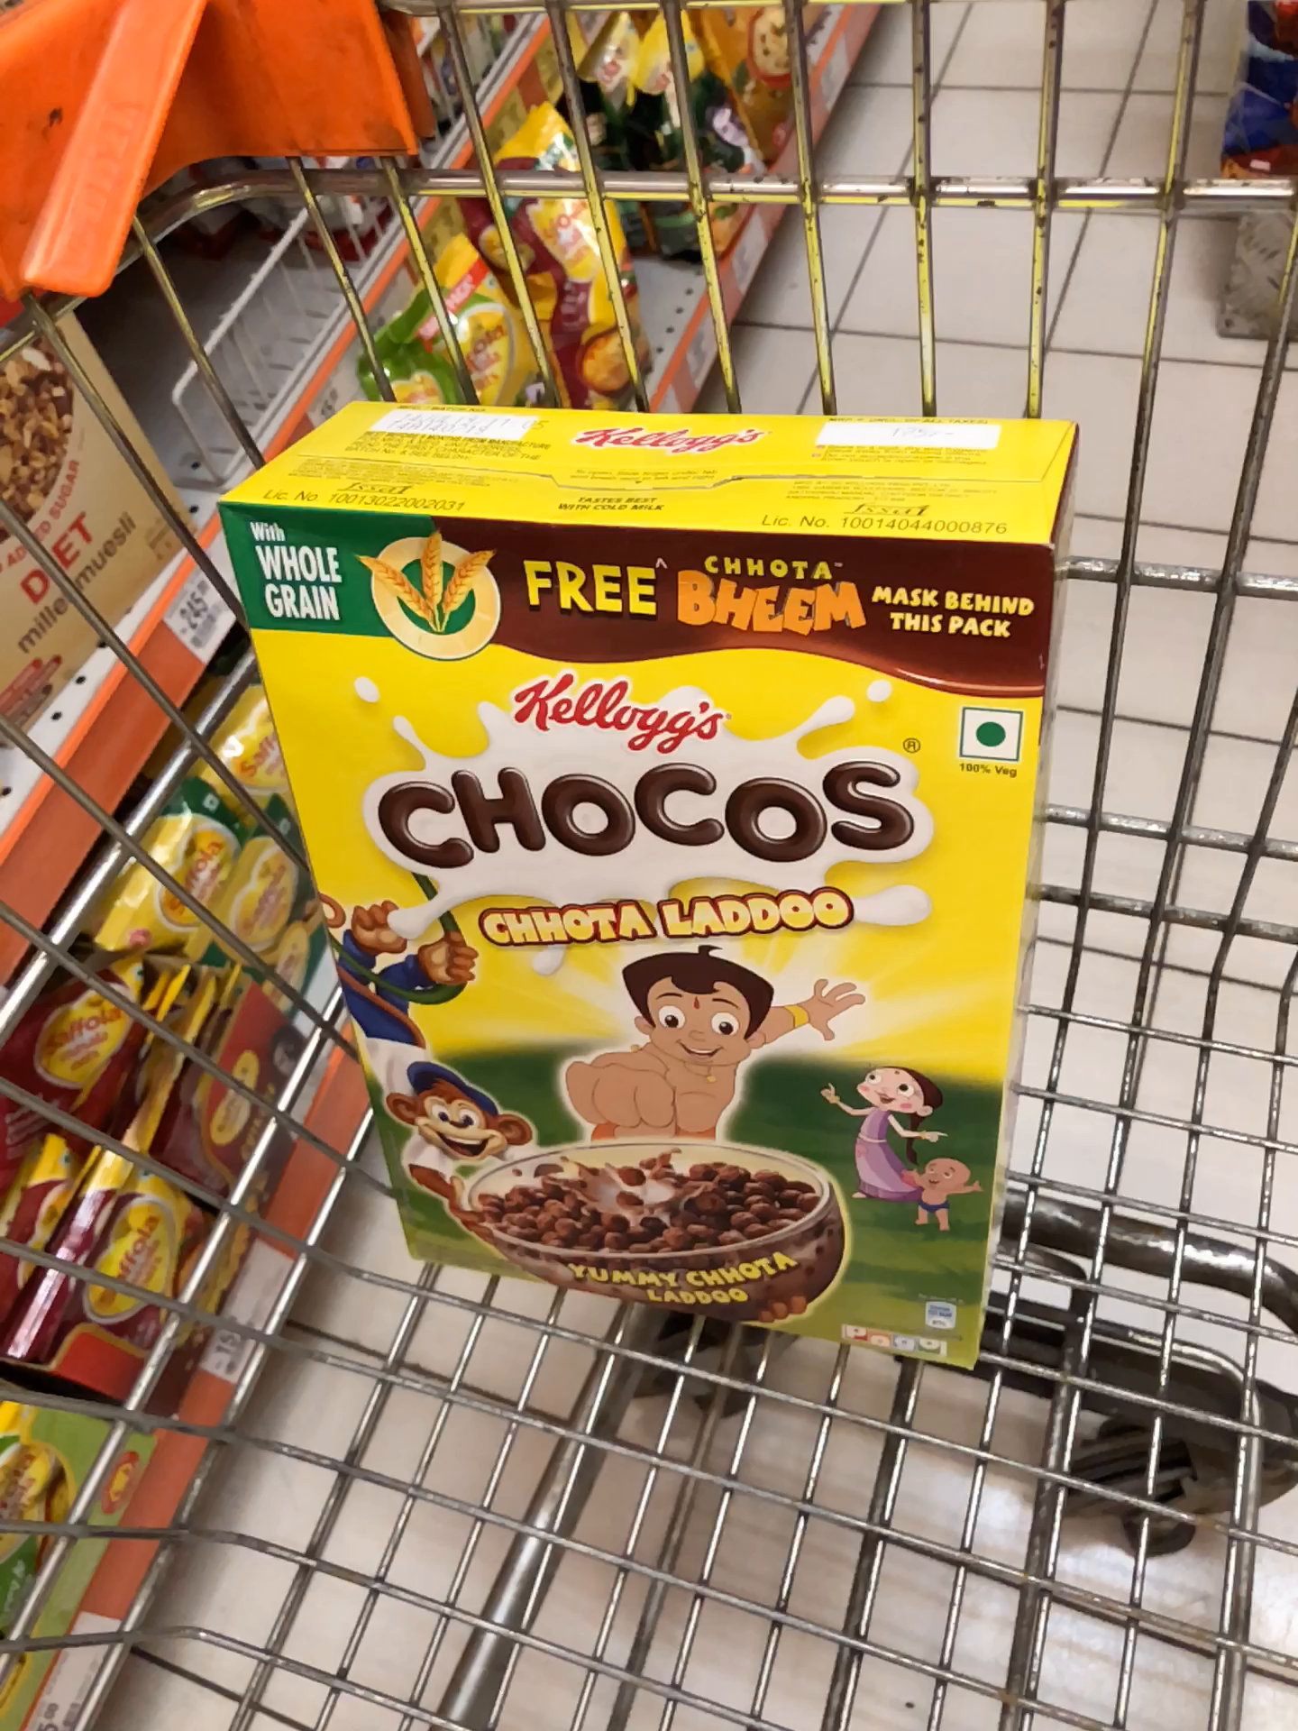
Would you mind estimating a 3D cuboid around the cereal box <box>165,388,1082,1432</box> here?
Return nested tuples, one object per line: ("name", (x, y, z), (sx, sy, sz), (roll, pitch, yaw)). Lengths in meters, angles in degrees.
("cereal box", (0.005, 0.015, 0.373), (0.180, 0.249, 0.080), (6, 34, 16))
